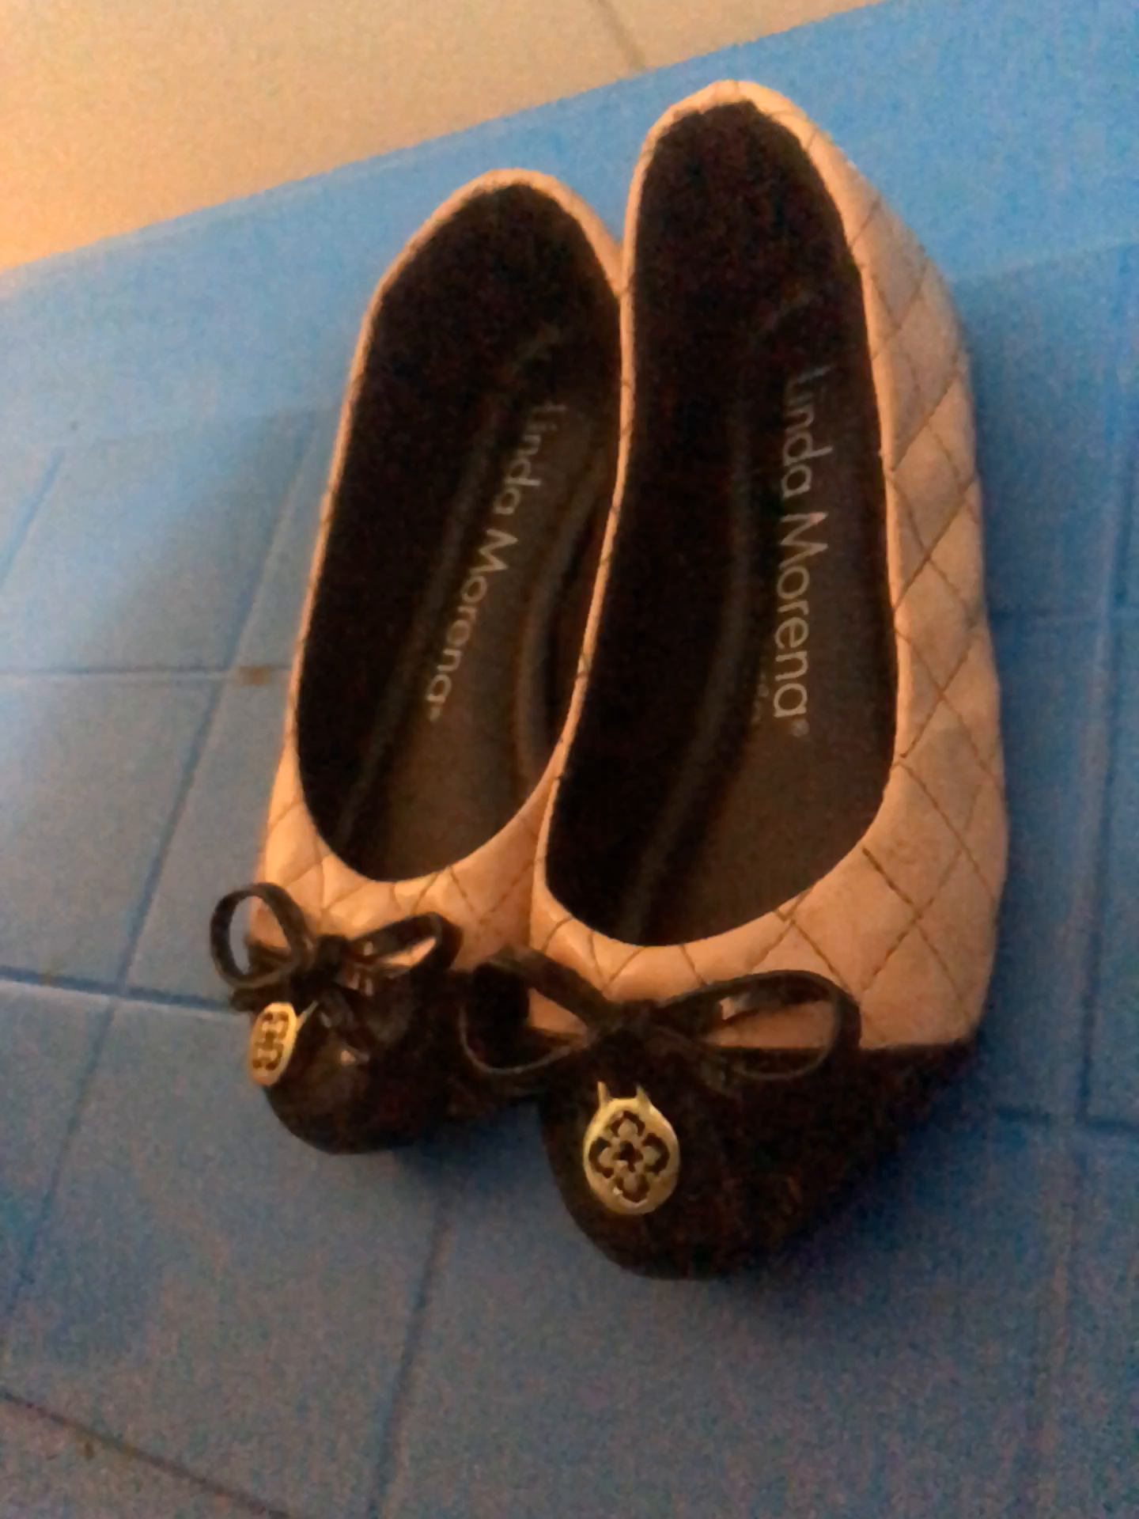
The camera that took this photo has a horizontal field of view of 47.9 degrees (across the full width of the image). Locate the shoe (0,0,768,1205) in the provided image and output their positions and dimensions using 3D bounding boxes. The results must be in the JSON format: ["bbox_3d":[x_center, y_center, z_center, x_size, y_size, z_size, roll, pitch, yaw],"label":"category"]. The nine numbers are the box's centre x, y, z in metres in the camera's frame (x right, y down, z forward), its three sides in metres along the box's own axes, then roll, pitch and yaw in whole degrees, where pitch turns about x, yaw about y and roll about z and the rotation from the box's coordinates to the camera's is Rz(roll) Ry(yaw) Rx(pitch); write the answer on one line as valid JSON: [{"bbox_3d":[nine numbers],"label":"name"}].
[{"bbox_3d":[-0.026,-0.027,0.237,0.070,0.080,0.190,2,69,31],"label":"shoe"}]

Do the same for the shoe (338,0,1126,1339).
[{"bbox_3d":[0.039,-0.019,0.204,0.070,0.080,0.190,1,68,31],"label":"shoe"}]
